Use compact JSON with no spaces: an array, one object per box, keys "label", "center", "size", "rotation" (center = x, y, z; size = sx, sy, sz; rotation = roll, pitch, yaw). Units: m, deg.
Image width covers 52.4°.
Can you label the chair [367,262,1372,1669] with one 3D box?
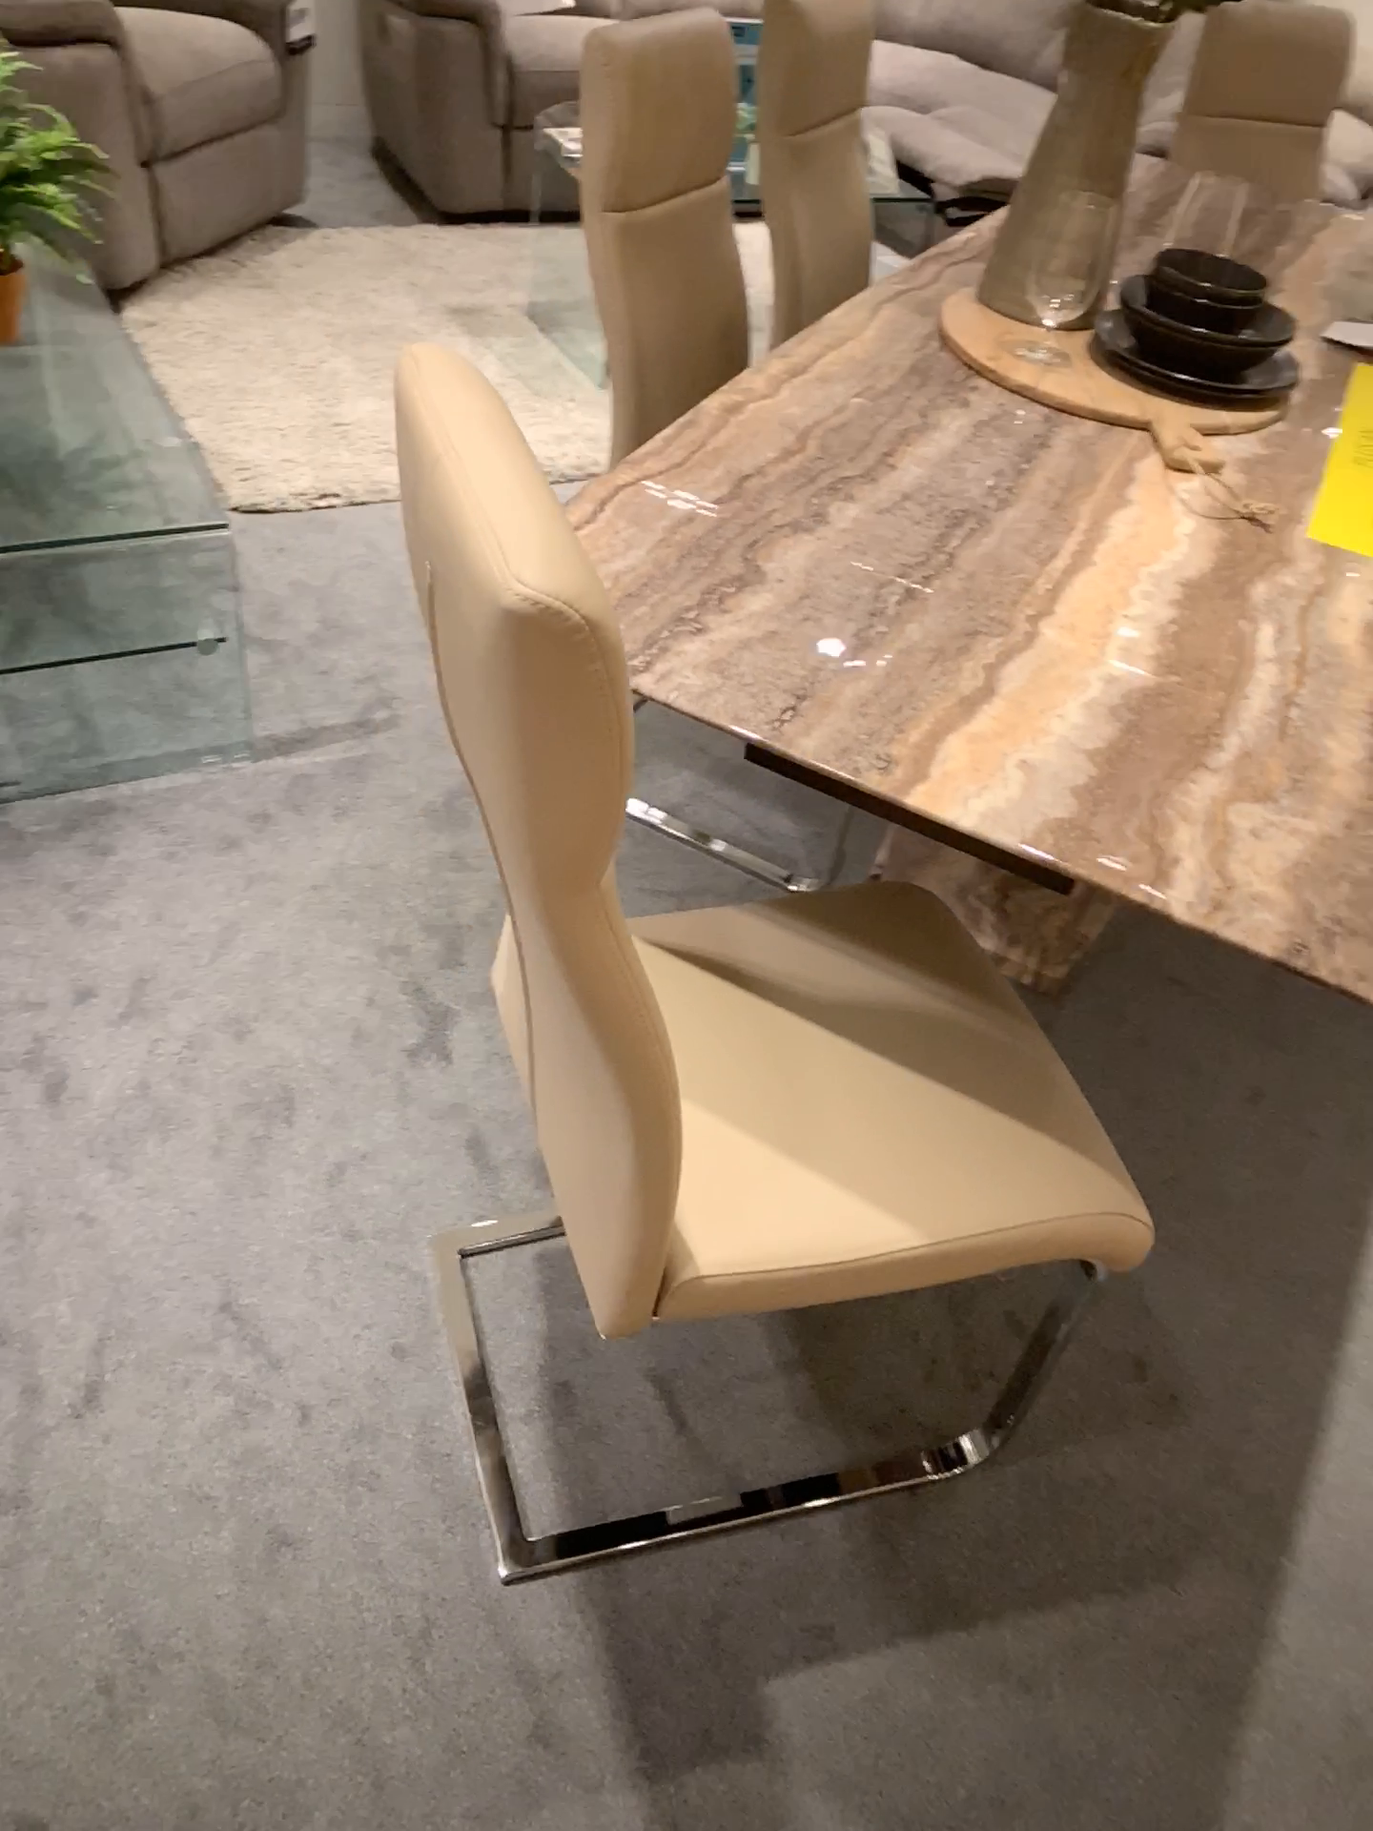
[{"label":"chair","center":[0.076,0.077,1.155],"size":[0.583,0.982,0.531],"rotation":[-7,44,-19]}]
